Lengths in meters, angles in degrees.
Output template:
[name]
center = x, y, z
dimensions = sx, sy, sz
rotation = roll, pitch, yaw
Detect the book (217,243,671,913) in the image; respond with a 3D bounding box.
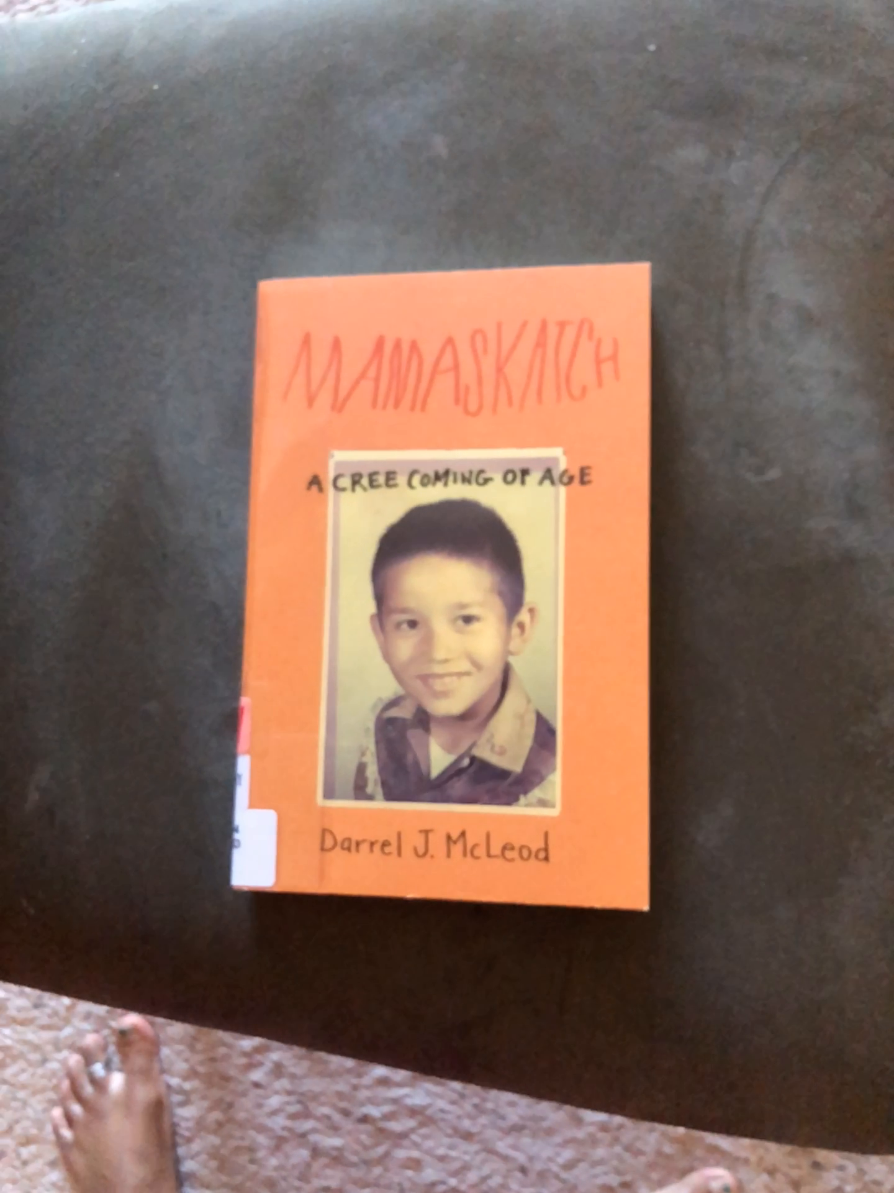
[book]
center = 0.001, -0.008, 0.356
dimensions = 0.150, 0.040, 0.218
rotation = 0, 86, 10
